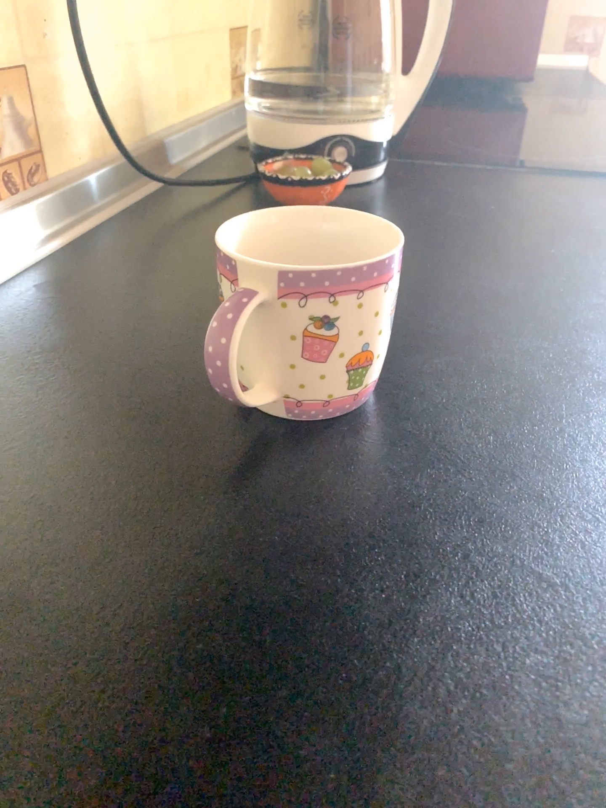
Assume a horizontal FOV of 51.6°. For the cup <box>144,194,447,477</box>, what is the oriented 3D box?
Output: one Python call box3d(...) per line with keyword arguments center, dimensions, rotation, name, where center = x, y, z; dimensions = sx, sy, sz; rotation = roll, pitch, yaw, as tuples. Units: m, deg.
box3d(center=(-0.001, -0.040, 0.295), dimensions=(0.080, 0.080, 0.110), rotation=(25, 39, 32), name="cup")
